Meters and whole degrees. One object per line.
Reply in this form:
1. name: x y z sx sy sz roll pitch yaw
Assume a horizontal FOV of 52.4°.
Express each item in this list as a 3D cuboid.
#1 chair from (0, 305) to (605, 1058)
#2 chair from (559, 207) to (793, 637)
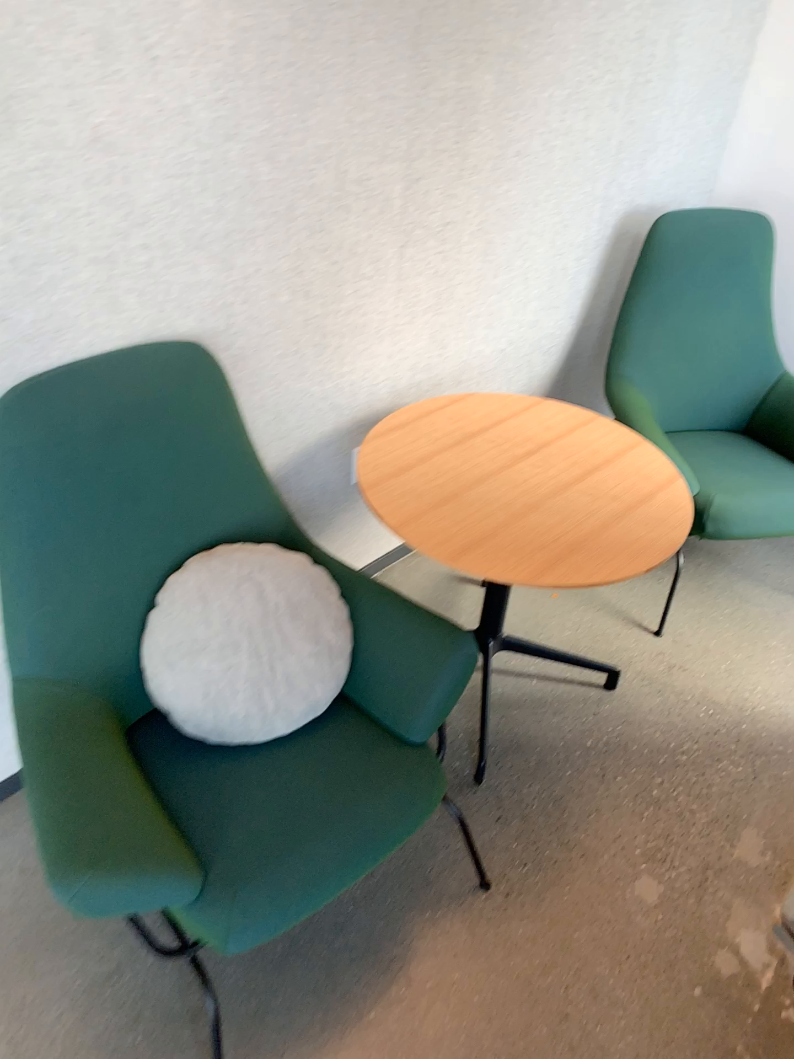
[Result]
1. chair: -0.264 0.264 1.540 0.722 0.994 0.843 -26 46 -33
2. chair: 1.027 -0.340 2.438 0.650 1.014 0.754 -4 37 -12
